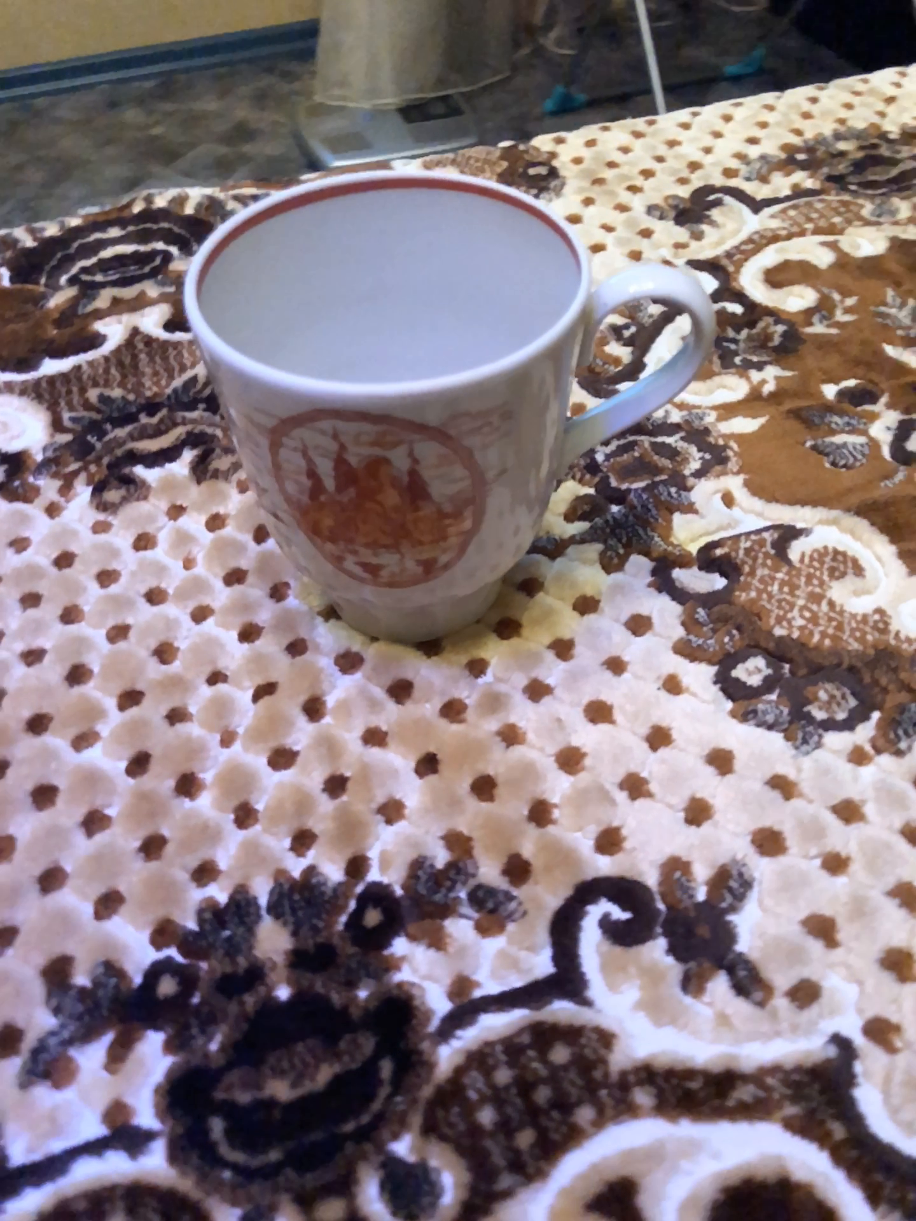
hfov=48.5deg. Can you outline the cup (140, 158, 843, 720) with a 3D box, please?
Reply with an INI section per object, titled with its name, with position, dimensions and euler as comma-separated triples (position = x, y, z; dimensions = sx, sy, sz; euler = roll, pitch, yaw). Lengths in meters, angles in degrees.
[cup]
position = 0.005, -0.043, 0.254
dimensions = 0.130, 0.090, 0.100
euler = -3, 48, -1
